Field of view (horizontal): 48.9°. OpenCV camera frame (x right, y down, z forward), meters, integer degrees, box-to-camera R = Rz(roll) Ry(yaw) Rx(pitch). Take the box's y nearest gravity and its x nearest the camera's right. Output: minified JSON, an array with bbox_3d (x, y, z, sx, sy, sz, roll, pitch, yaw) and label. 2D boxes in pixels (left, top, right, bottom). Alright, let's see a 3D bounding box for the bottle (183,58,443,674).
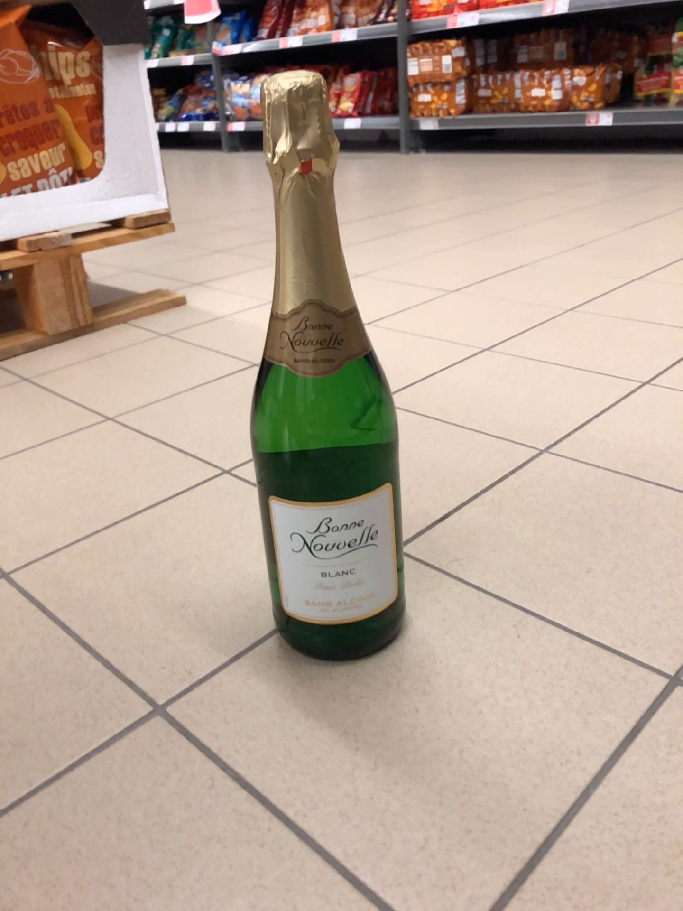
[{"bbox_3d":[-0.008,-0.038,0.401,0.100,0.298,0.090,-7,25,-5],"label":"bottle"}]
